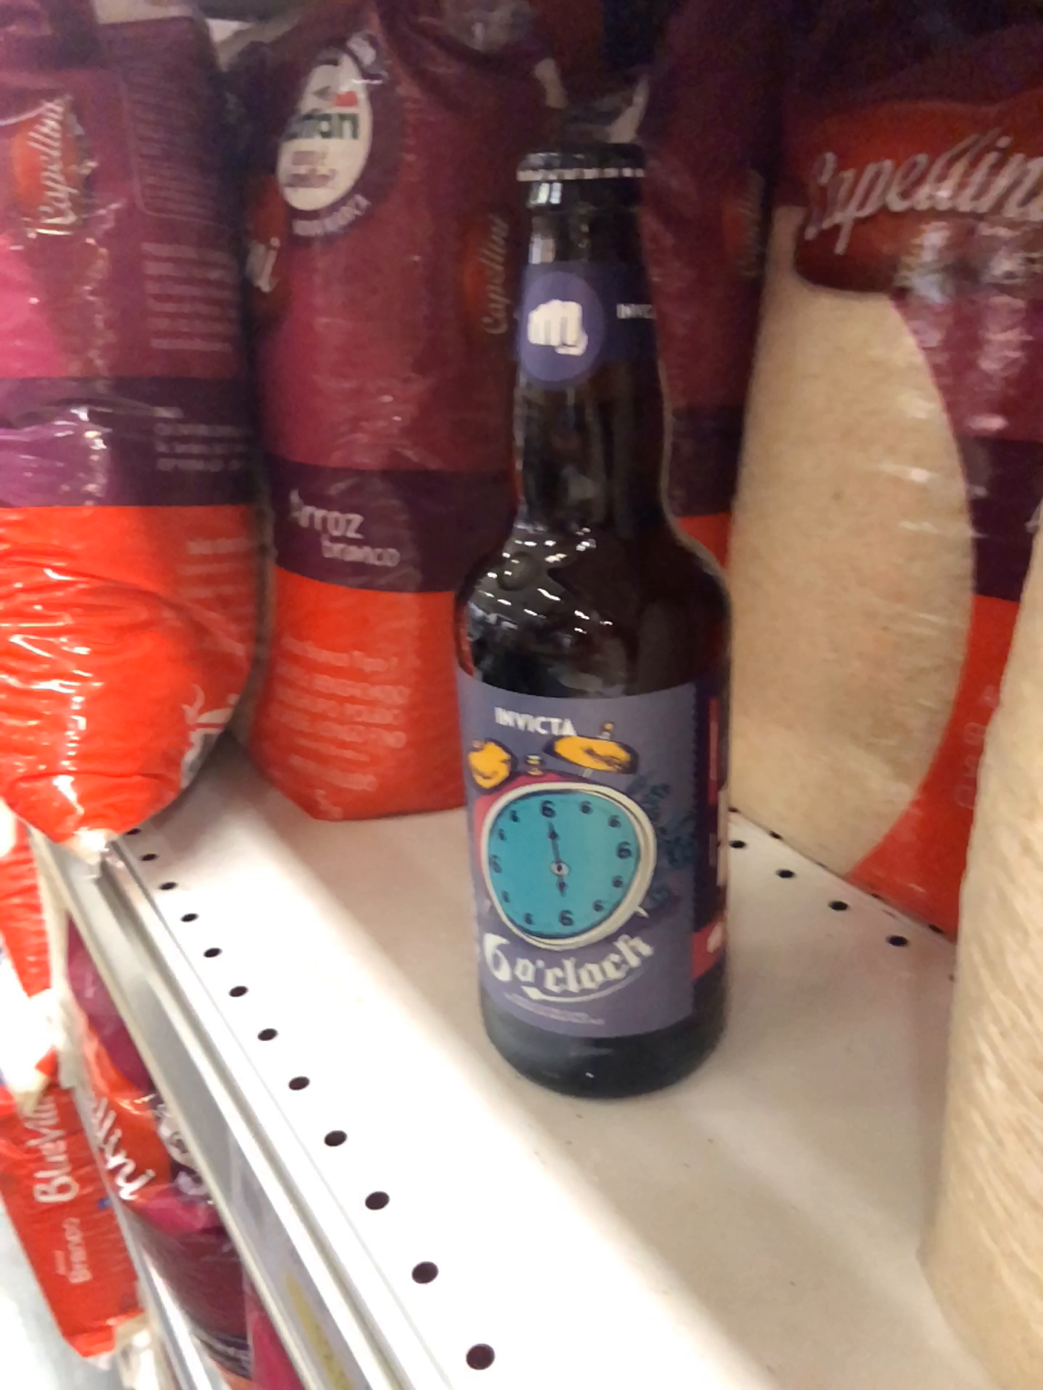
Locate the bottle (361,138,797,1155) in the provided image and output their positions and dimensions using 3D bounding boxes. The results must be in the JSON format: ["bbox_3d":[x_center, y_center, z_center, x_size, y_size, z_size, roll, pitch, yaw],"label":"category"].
[{"bbox_3d":[0.020,-0.009,0.288,0.070,0.228,0.070,-3,23,1],"label":"bottle"}]
